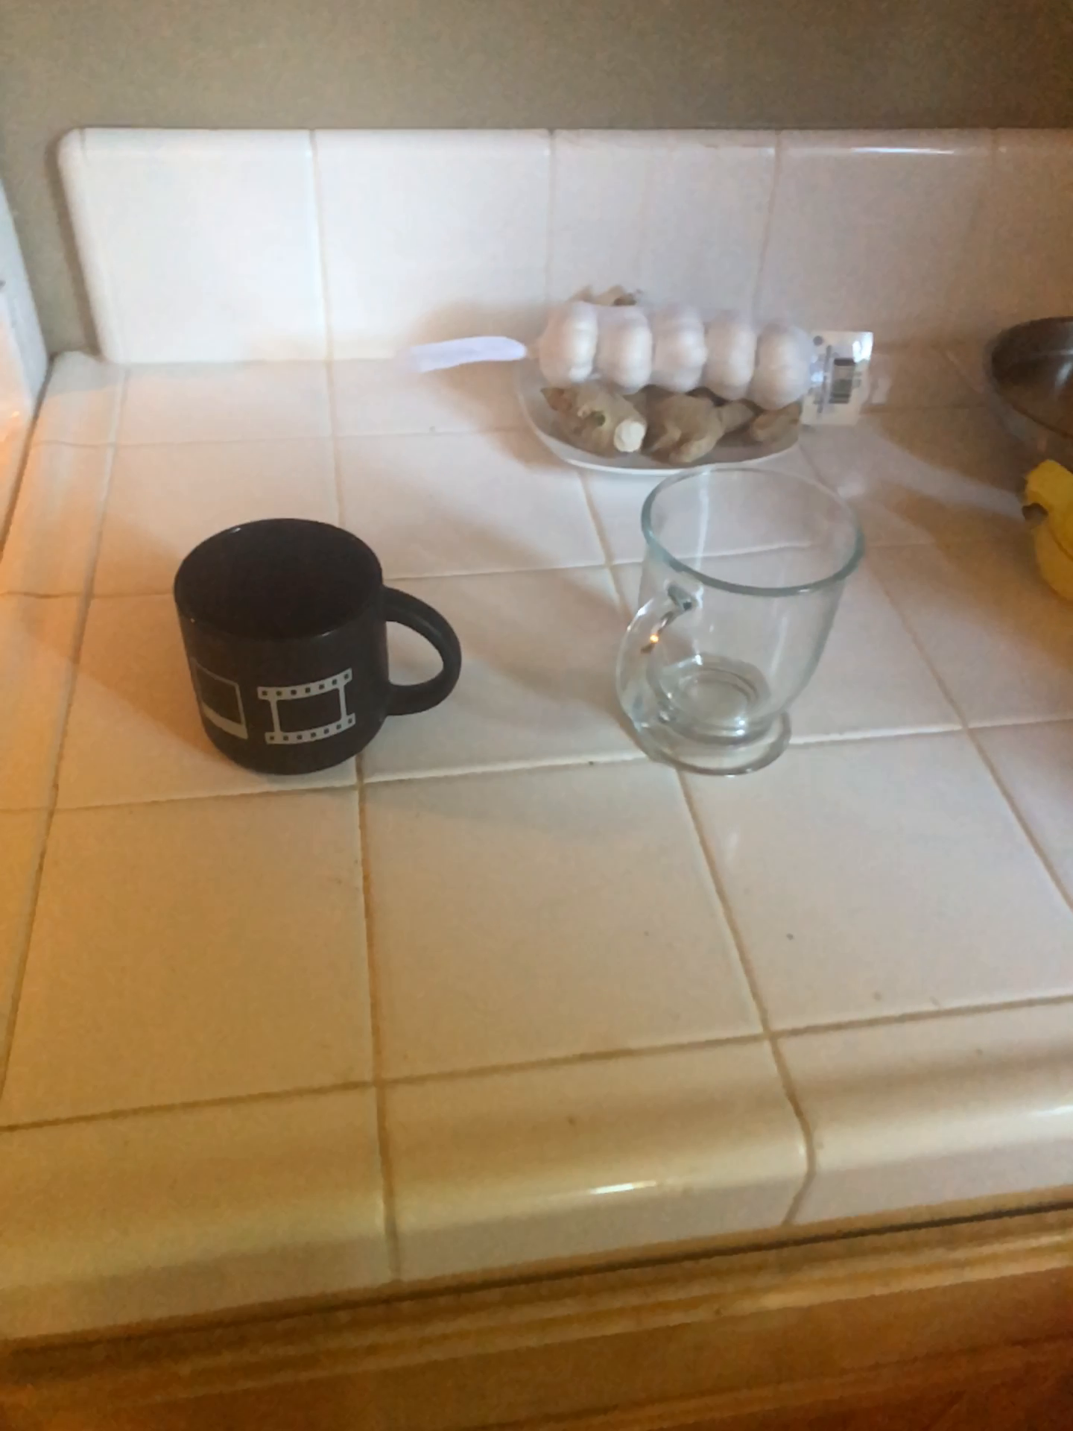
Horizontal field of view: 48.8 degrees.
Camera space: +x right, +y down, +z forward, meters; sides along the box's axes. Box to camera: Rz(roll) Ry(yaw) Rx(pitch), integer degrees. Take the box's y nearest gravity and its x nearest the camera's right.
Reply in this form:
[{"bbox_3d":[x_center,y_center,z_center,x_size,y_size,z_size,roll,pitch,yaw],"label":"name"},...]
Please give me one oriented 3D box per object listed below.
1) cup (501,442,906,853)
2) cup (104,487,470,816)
[{"bbox_3d":[0.071,-0.035,0.544,0.141,0.109,0.100,-26,52,-27],"label":"cup"},{"bbox_3d":[-0.103,-0.030,0.532,0.130,0.089,0.101,7,45,3],"label":"cup"}]
